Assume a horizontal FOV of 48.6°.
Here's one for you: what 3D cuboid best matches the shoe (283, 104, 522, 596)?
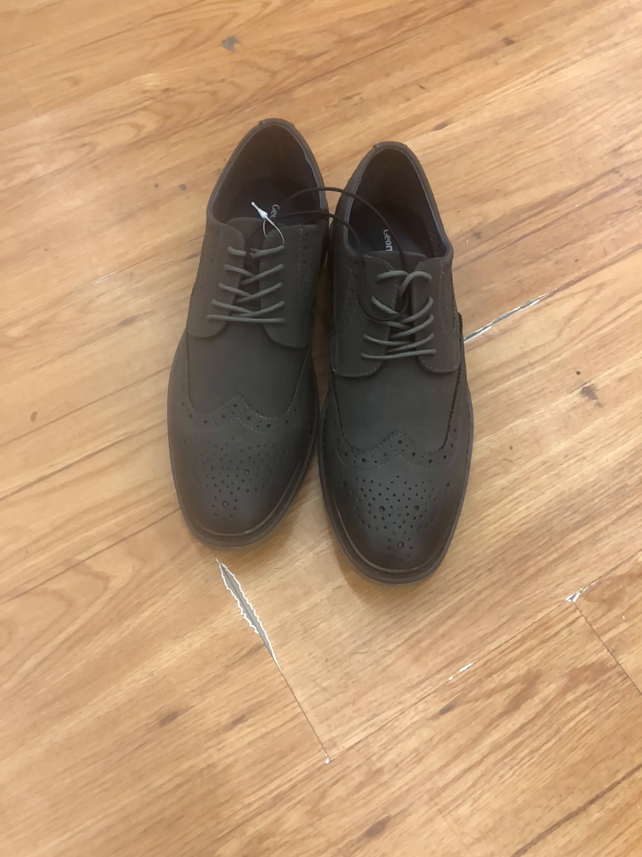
[{"bbox_3d":[0.040,-0.051,0.435,0.110,0.110,0.280,1,65,0],"label":"shoe"}]

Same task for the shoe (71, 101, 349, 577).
[{"bbox_3d":[-0.054,-0.062,0.460,0.110,0.110,0.280,7,65,2],"label":"shoe"}]
